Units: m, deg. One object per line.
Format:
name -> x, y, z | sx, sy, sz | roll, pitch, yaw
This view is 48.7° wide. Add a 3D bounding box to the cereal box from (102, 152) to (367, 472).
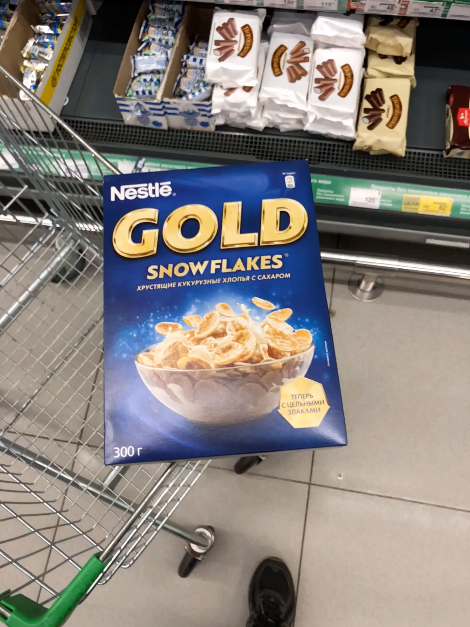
cereal box -> -0.010, -0.009, 0.459 | 0.200, 0.050, 0.270 | -4, 71, -3
